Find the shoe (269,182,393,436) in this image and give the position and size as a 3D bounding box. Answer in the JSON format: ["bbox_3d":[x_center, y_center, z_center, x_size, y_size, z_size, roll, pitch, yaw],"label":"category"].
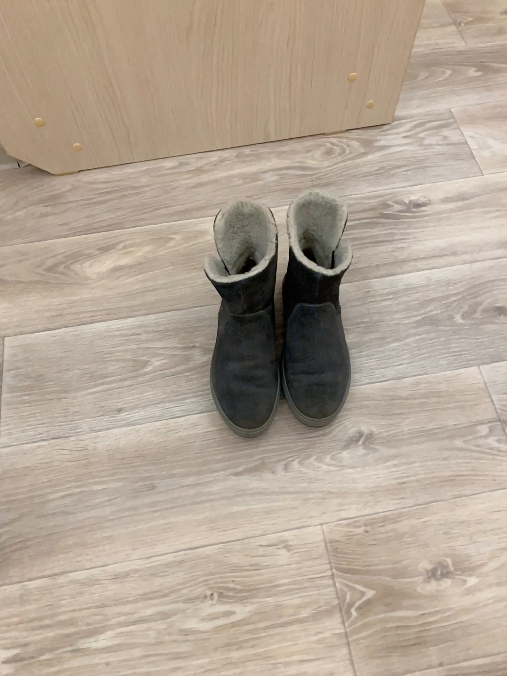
[{"bbox_3d":[0.083,-0.034,0.664,0.100,0.170,0.271,-4,63,-1],"label":"shoe"}]

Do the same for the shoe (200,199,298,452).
[{"bbox_3d":[-0.009,-0.012,0.672,0.100,0.179,0.271,-2,63,0],"label":"shoe"}]
